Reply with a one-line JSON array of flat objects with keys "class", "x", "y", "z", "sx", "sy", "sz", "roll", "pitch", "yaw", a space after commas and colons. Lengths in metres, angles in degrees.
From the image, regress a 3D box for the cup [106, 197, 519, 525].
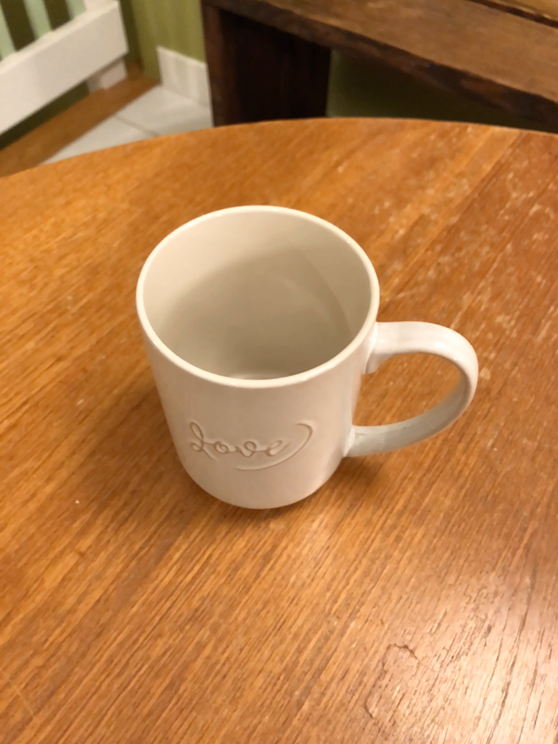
[{"class": "cup", "x": 0.011, "y": 0.002, "z": 0.280, "sx": 0.134, "sy": 0.124, "sz": 0.092, "roll": 0, "pitch": 55, "yaw": 0}]
